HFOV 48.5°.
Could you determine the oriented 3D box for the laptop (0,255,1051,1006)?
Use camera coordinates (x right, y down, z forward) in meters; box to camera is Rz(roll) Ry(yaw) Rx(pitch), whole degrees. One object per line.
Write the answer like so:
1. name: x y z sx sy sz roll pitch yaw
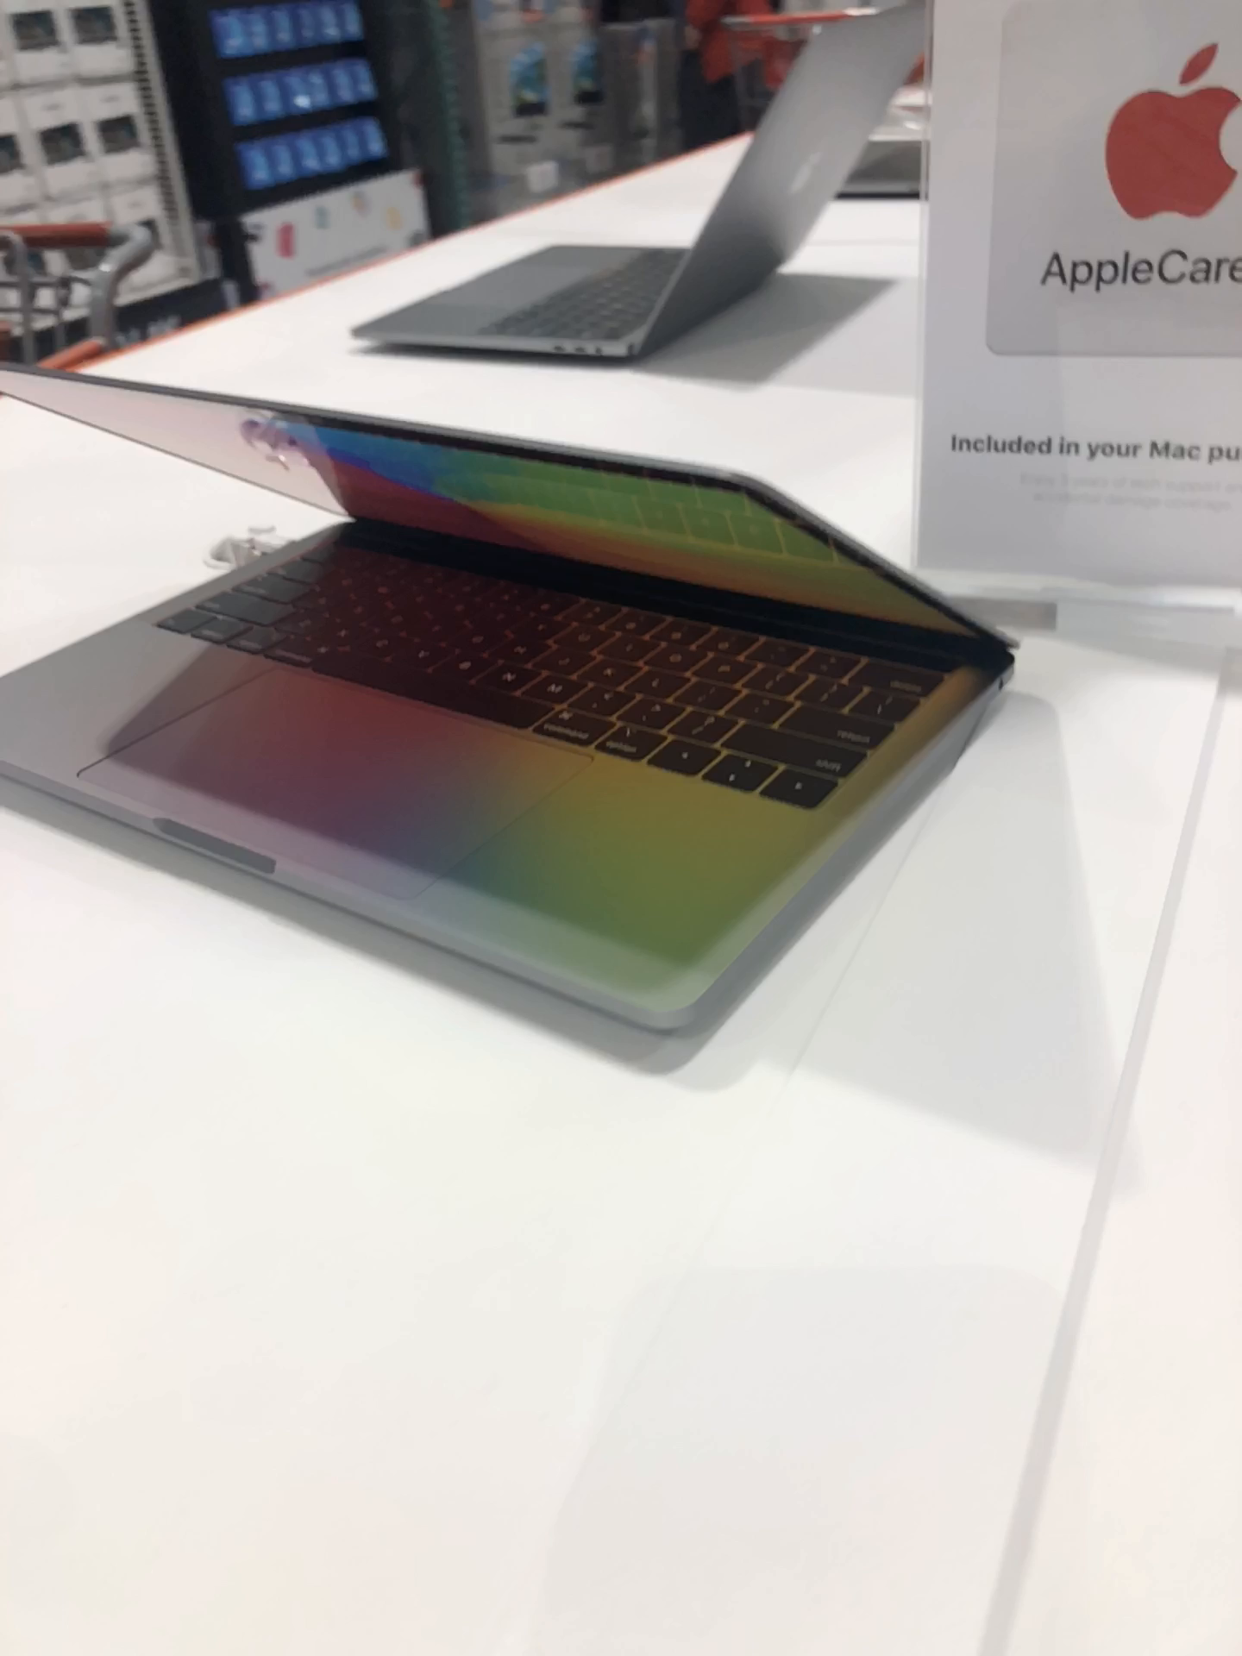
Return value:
1. laptop: -0.055 -0.094 0.426 0.298 0.109 0.210 17 37 30
